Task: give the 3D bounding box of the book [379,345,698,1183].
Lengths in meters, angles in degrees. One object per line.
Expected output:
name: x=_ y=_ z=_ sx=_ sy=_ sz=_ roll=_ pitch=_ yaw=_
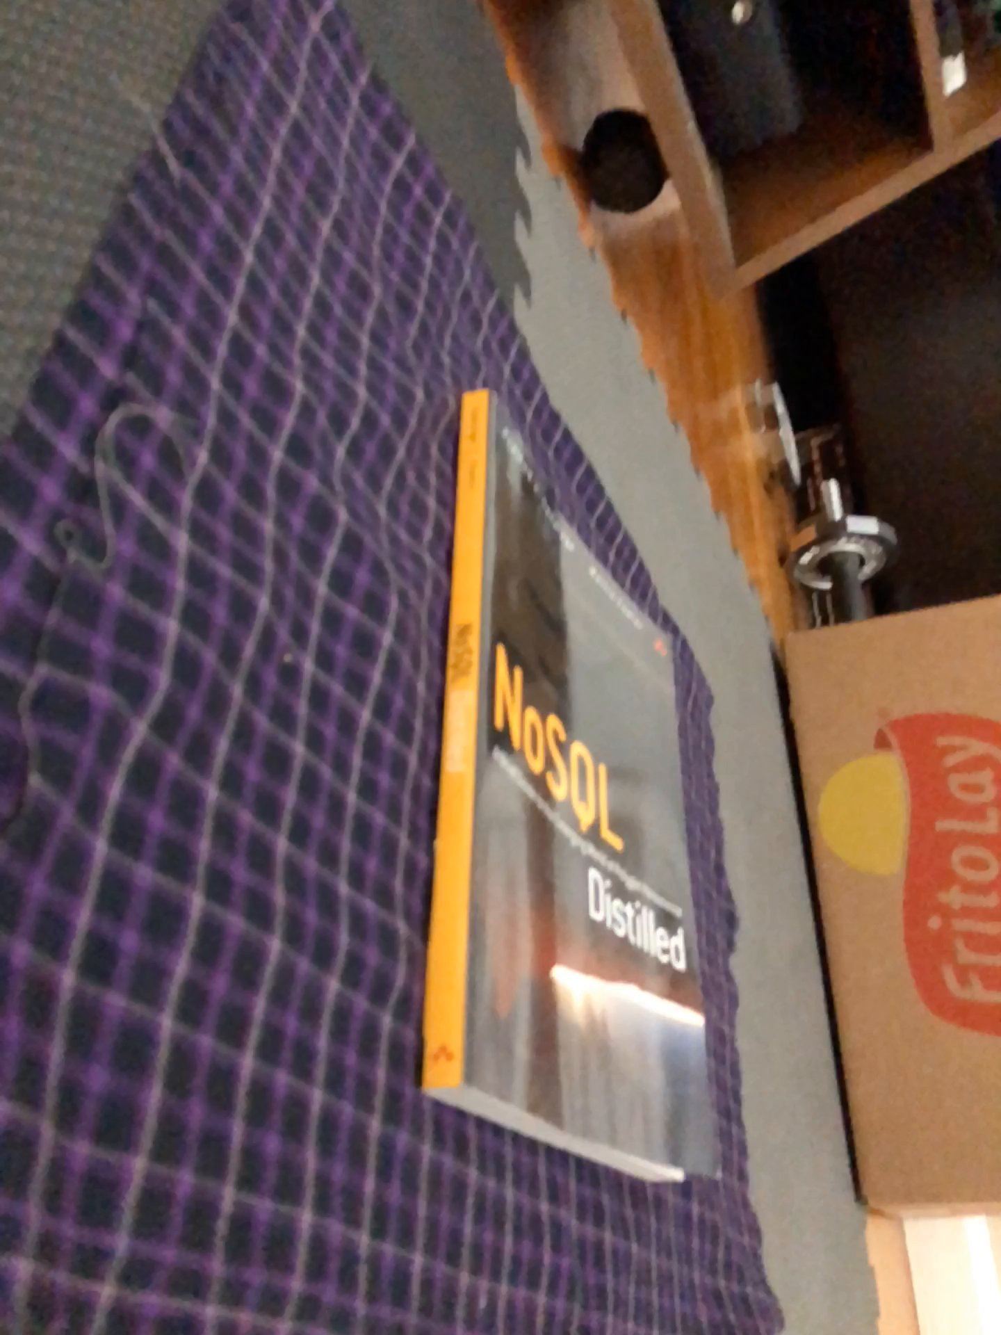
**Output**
book: x=0.022 y=0.039 z=0.398 sx=0.190 sy=0.020 sz=0.251 roll=47 pitch=35 yaw=-49
